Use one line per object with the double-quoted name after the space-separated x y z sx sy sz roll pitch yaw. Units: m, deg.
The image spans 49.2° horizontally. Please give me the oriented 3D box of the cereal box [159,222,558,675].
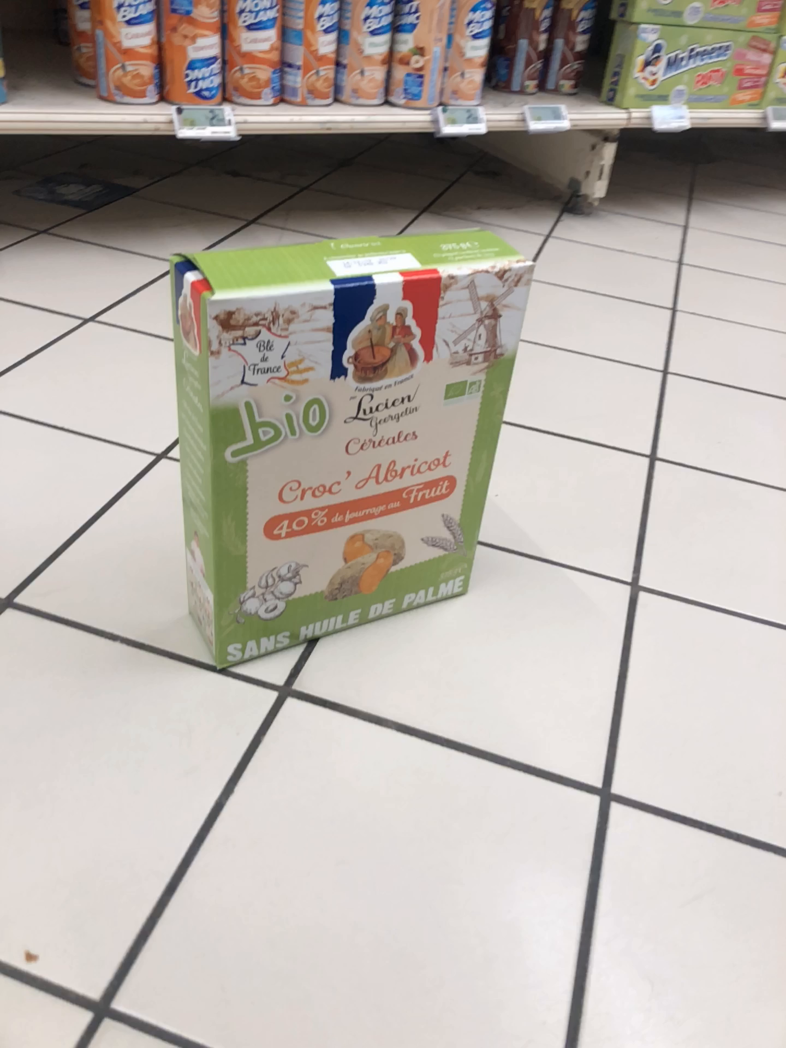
-0.026 -0.046 0.520 0.201 0.238 0.070 -14 40 -27 "cereal box"
